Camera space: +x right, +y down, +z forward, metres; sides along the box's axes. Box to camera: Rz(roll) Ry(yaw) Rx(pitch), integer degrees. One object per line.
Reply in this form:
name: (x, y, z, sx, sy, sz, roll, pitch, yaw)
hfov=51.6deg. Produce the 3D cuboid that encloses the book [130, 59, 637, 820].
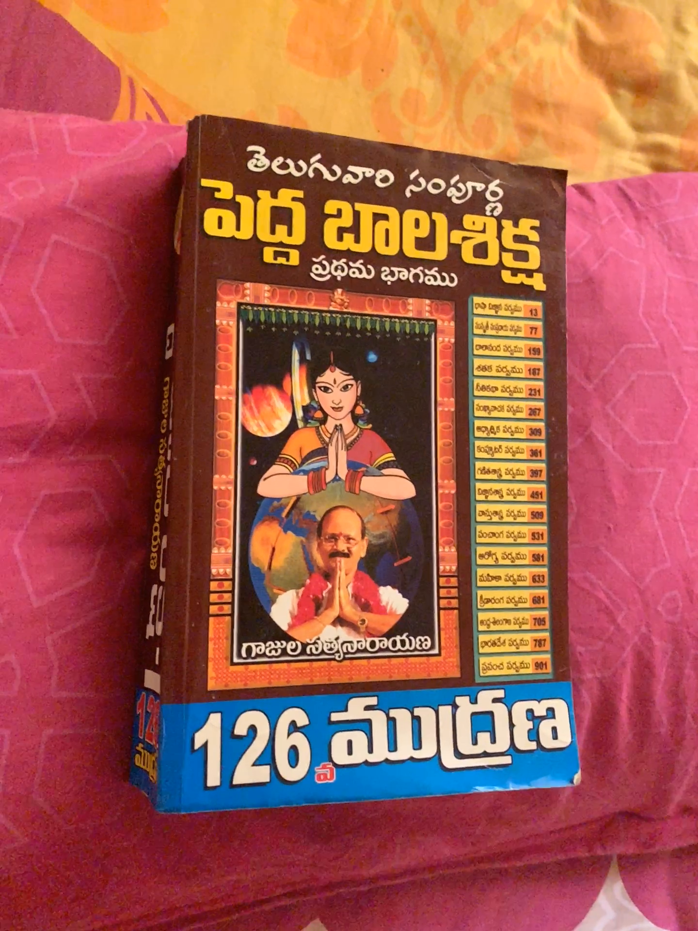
book: (0.015, -0.011, 0.288, 0.180, 0.050, 0.260, 3, 82, -13)
